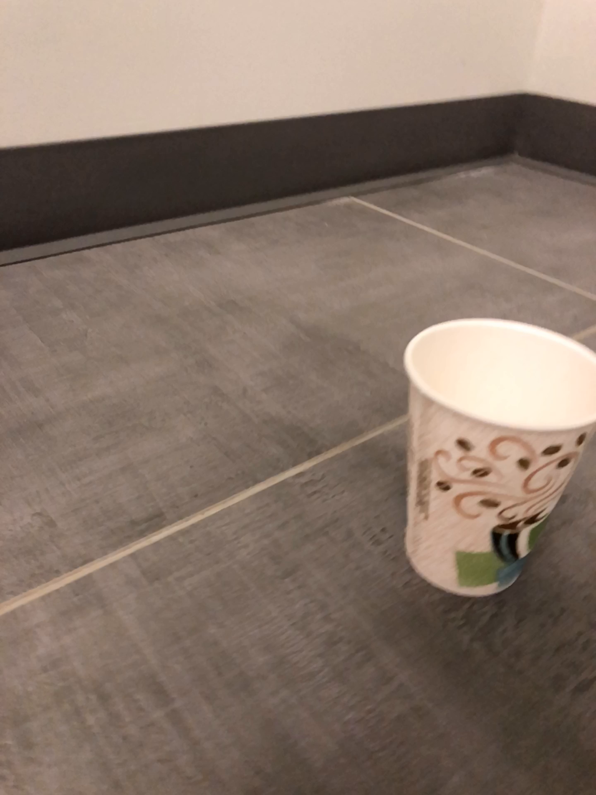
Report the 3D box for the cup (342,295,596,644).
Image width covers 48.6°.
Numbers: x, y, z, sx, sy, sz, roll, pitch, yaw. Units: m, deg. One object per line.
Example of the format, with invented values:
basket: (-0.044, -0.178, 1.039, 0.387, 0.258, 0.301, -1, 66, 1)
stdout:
cup: (0.089, 0.025, 0.303, 0.090, 0.099, 0.100, -14, 36, -24)
